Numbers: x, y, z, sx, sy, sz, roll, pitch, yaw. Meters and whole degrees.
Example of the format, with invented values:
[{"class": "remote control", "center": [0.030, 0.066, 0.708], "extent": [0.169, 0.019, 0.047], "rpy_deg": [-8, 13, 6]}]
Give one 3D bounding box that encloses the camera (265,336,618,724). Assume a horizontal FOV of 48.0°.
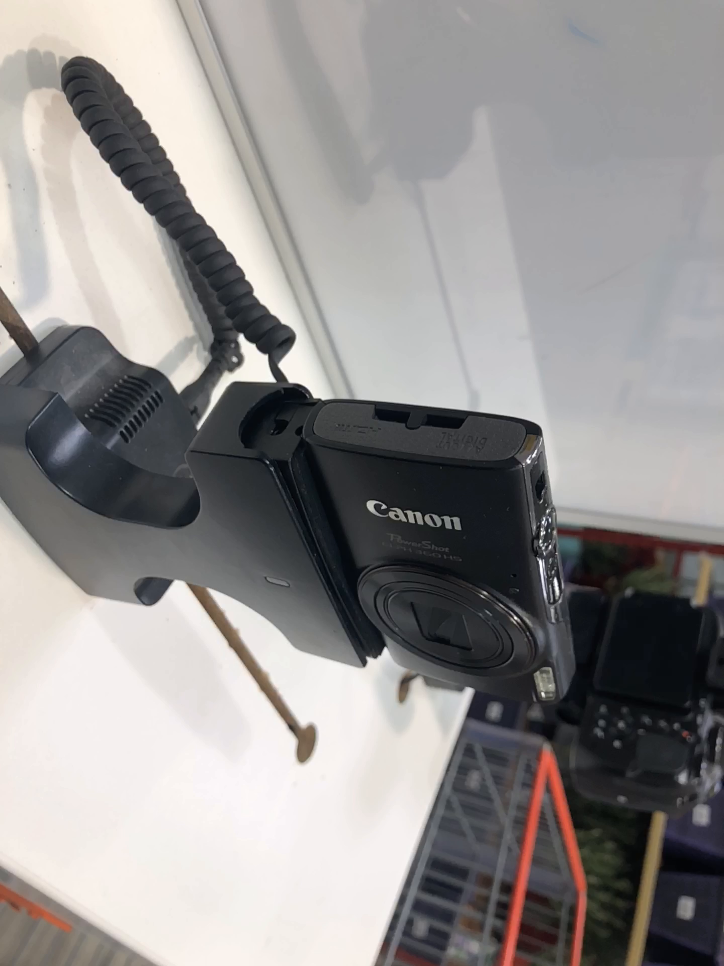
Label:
[{"class": "camera", "center": [0.028, 0.015, 0.222], "extent": [0.030, 0.070, 0.110], "rpy_deg": [-60, 144, -37]}]
